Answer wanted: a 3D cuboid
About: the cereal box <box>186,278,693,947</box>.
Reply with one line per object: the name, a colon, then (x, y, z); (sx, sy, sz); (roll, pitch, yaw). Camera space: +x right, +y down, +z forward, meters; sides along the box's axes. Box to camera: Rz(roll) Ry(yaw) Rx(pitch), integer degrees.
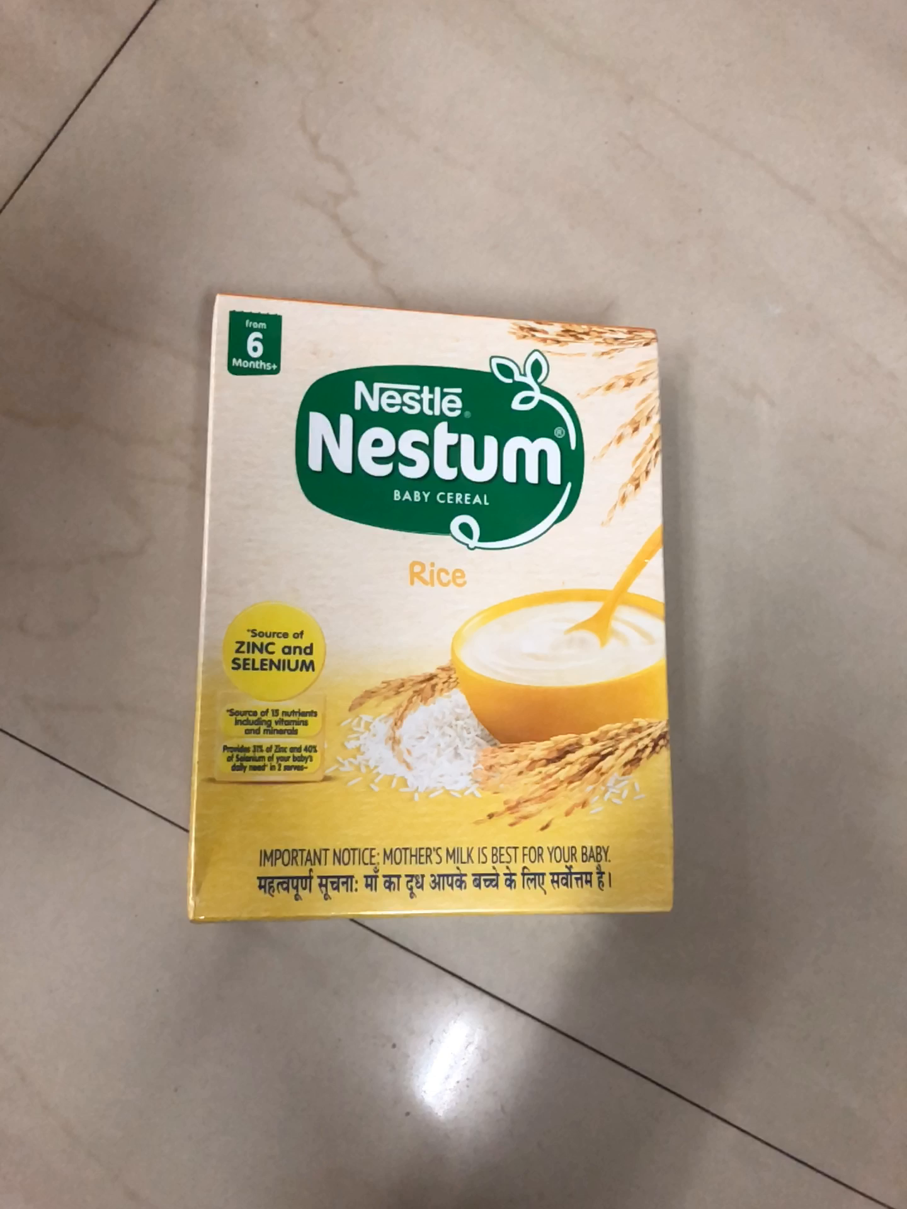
cereal box: (-0.005, 0.004, 0.339); (0.150, 0.060, 0.200); (2, 81, -9)
